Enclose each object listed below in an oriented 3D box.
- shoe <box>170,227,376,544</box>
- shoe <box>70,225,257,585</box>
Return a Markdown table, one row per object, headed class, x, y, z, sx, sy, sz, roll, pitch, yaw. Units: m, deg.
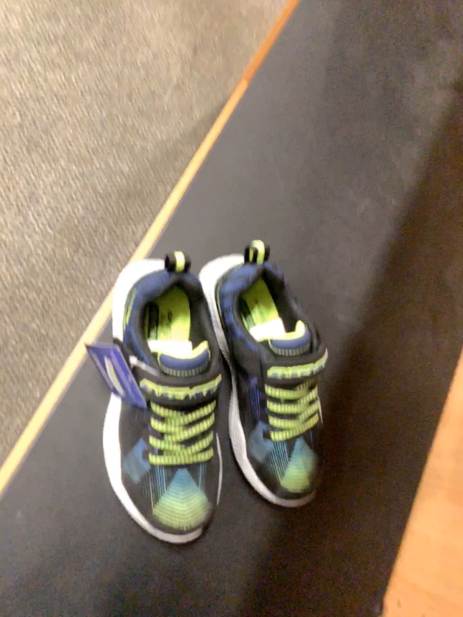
| class | x | y | z | sx | sy | sz | roll | pitch | yaw |
| --- | --- | --- | --- | --- | --- | --- | --- | --- | --- |
| shoe | 0.027 | 0.057 | 0.402 | 0.092 | 0.100 | 0.220 | -11 | 85 | -23 |
| shoe | -0.059 | 0.060 | 0.357 | 0.098 | 0.100 | 0.220 | -4 | 82 | -22 |
